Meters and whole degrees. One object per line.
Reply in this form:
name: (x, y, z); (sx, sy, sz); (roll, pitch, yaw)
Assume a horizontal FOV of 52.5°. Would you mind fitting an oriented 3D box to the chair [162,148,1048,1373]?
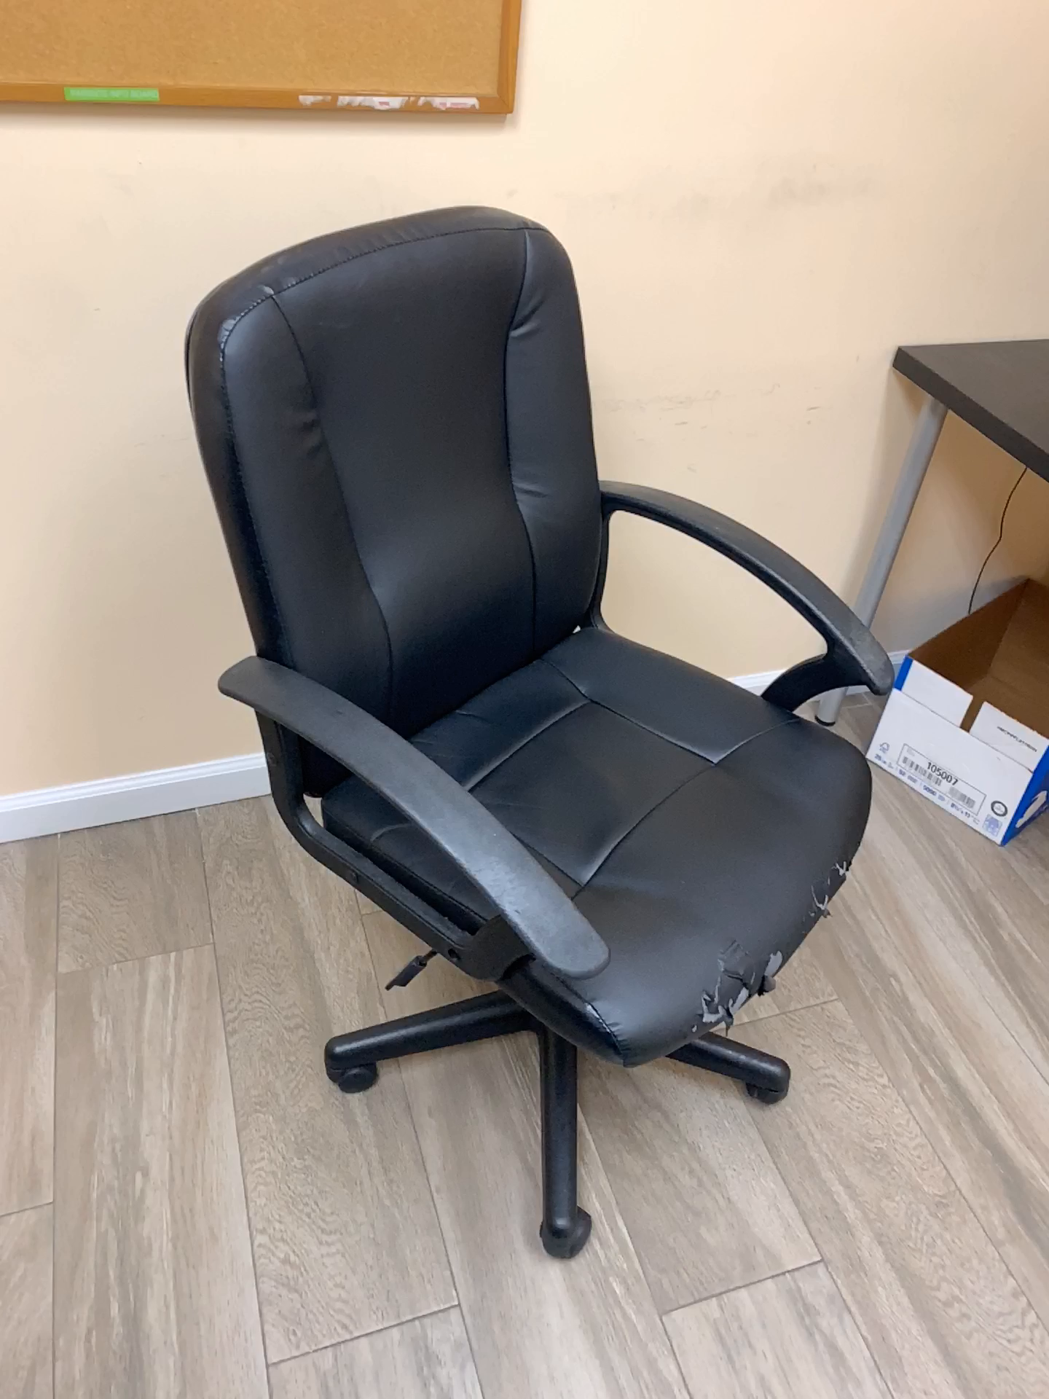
chair: (0.145, 0.040, 1.188); (0.645, 0.987, 0.685); (31, 45, 27)
